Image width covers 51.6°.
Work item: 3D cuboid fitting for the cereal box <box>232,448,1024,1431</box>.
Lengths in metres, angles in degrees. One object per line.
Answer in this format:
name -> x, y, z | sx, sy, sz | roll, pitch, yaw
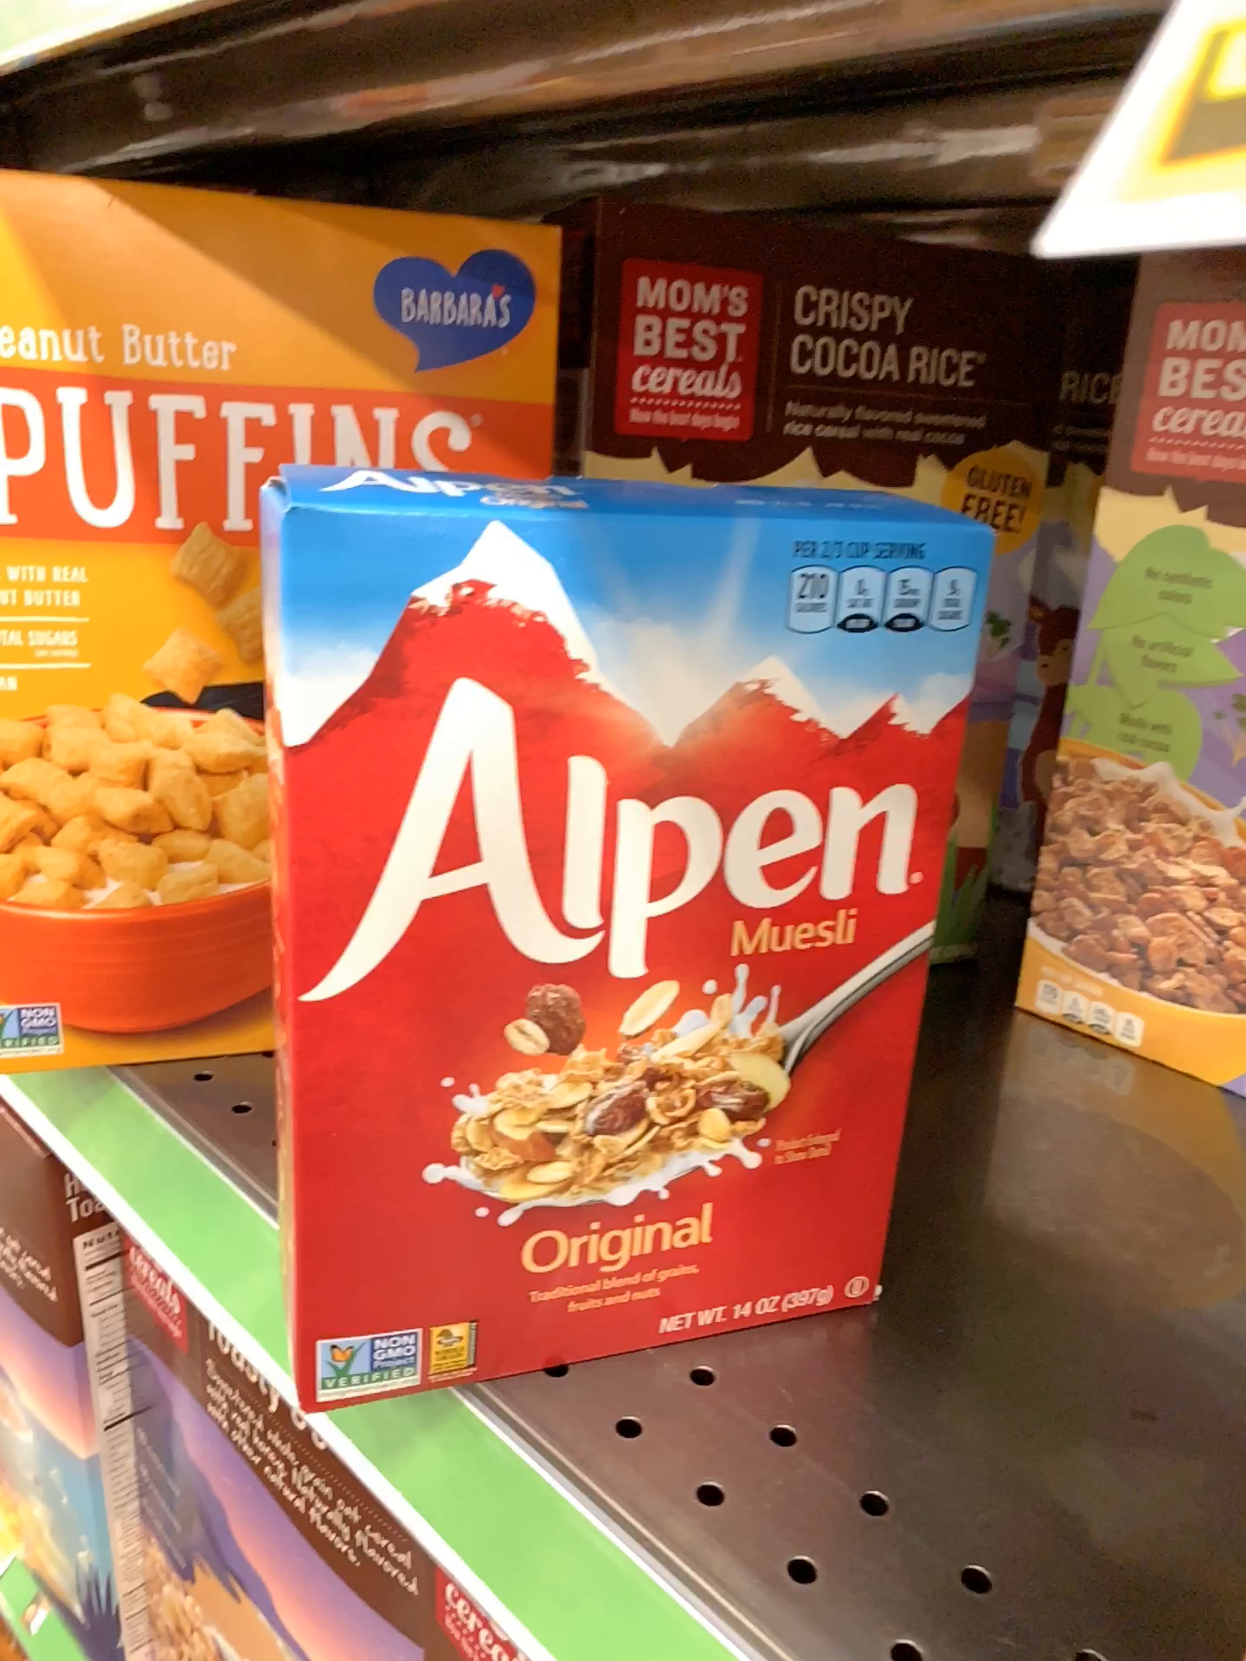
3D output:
cereal box -> -0.003, 0.025, 0.300 | 0.160, 0.209, 0.040 | -3, 20, -19
